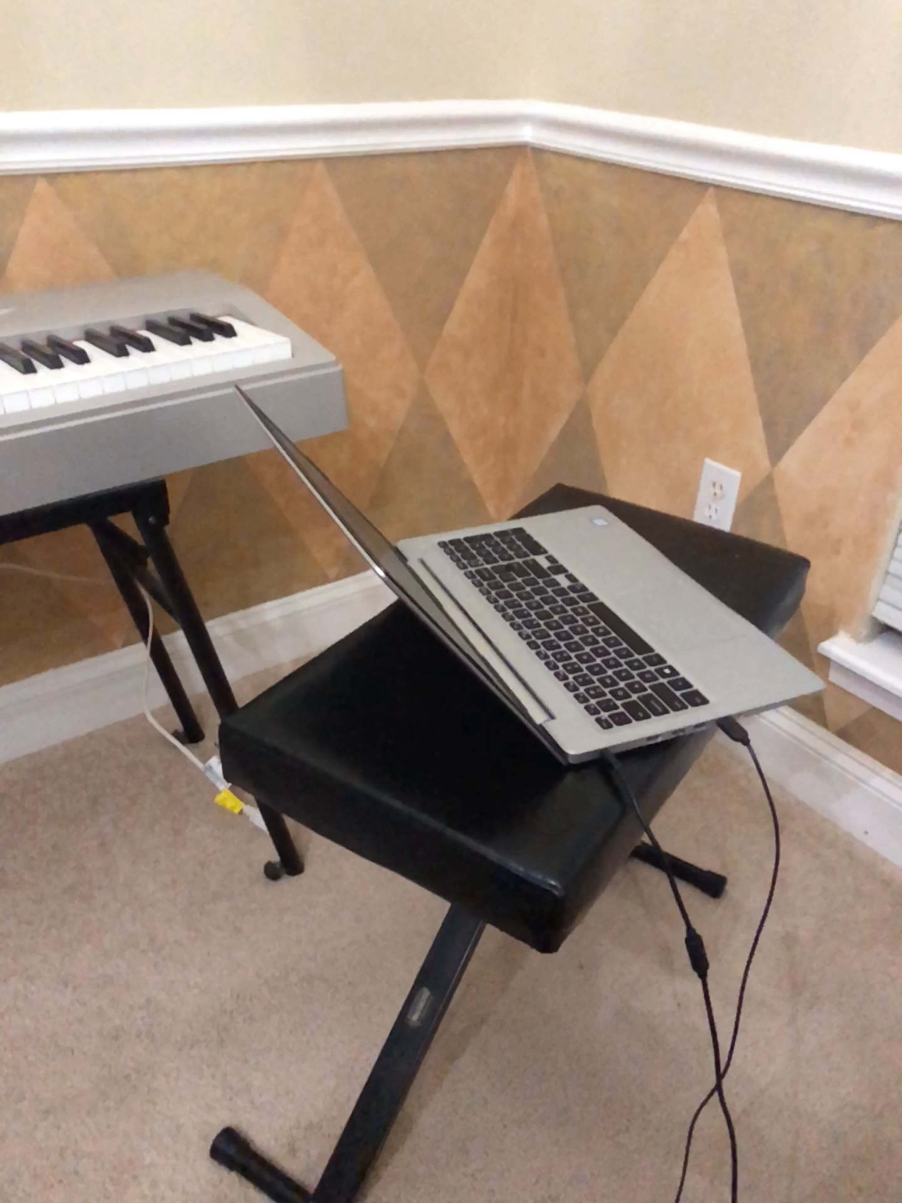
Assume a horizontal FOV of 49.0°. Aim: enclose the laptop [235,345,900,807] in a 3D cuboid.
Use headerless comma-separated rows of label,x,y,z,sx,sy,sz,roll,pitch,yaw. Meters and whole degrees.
laptop,0.068,-0.063,0.854,0.408,0.183,0.376,-11,33,-22
